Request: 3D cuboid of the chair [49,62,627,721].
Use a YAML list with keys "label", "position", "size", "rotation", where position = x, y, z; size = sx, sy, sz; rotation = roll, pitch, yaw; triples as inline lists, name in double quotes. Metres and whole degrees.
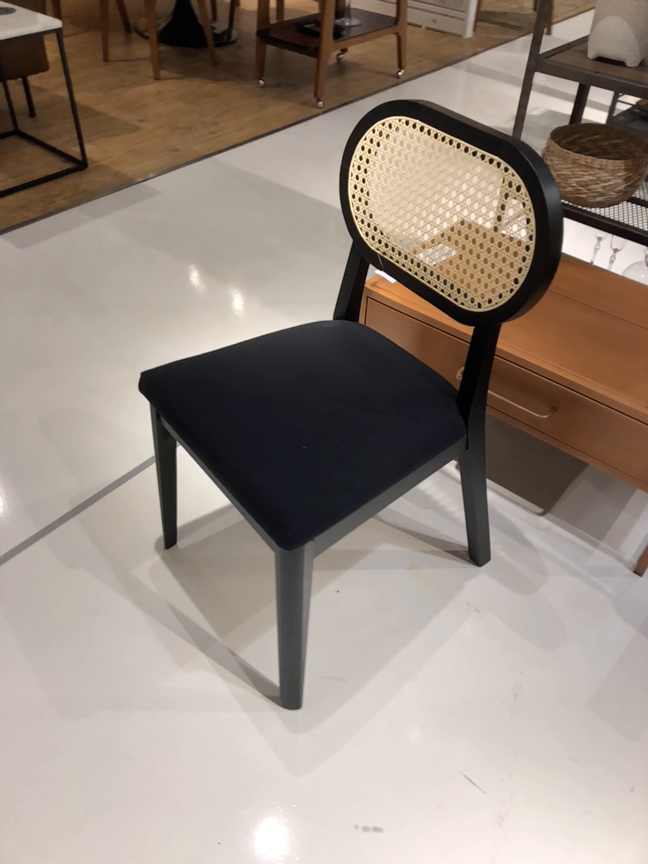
- label: "chair"
  position: [0.002, -0.068, 1.176]
  size: [0.542, 0.804, 0.502]
  rotation: [-28, 51, -29]
